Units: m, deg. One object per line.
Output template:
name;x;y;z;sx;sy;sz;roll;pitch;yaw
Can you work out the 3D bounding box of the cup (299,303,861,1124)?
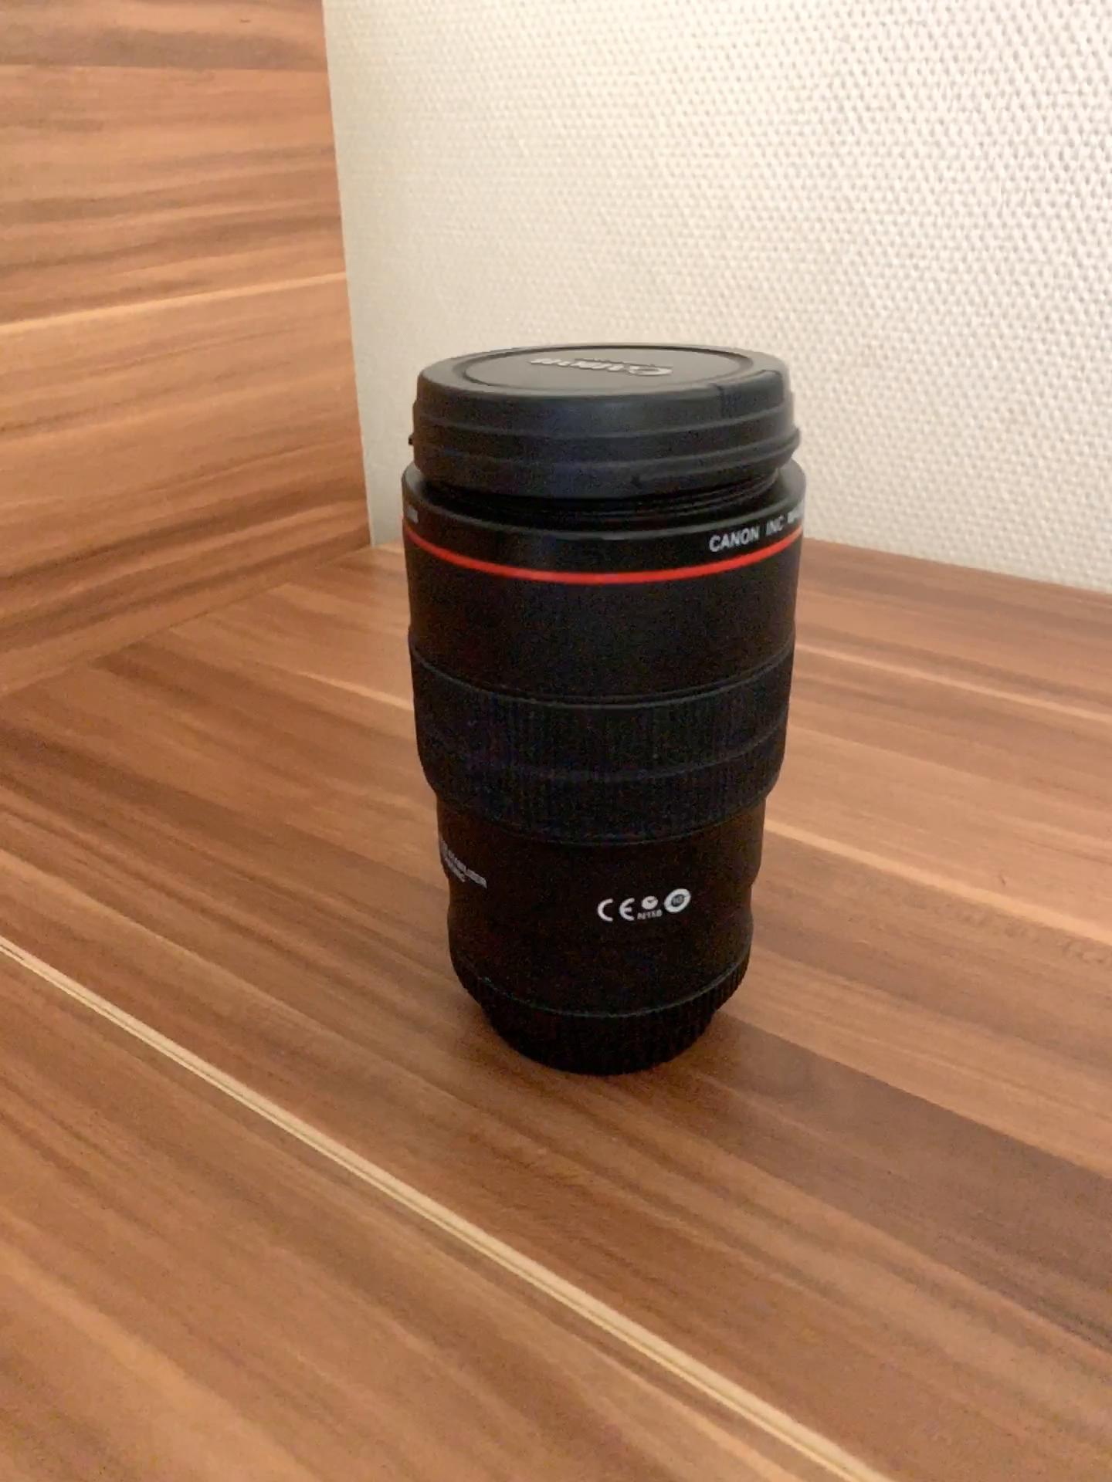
cup;0.009;-0.008;0.232;0.080;0.139;0.070;9;30;17
